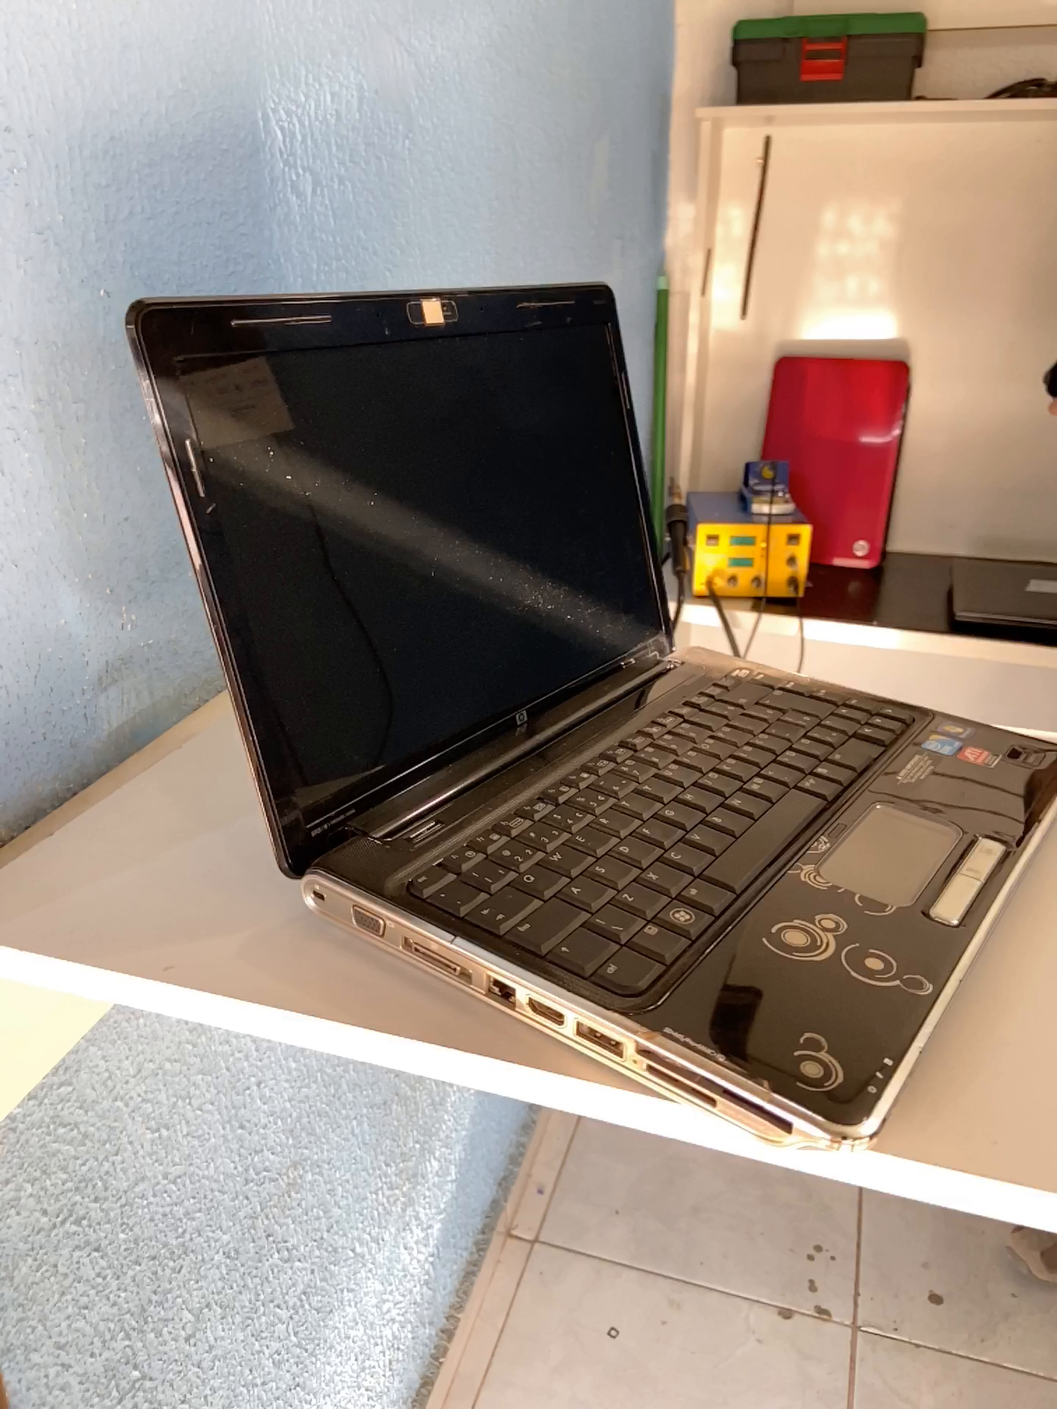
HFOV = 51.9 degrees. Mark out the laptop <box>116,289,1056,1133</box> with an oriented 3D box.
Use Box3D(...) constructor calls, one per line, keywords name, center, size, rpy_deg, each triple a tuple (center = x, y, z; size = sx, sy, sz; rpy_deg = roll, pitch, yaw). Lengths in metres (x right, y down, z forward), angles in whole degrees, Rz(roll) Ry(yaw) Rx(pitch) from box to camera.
Box3D(name="laptop", center=(0.065, -0.060, 0.482), size=(0.302, 0.211, 0.323), rpy_deg=(17, 28, 32))
